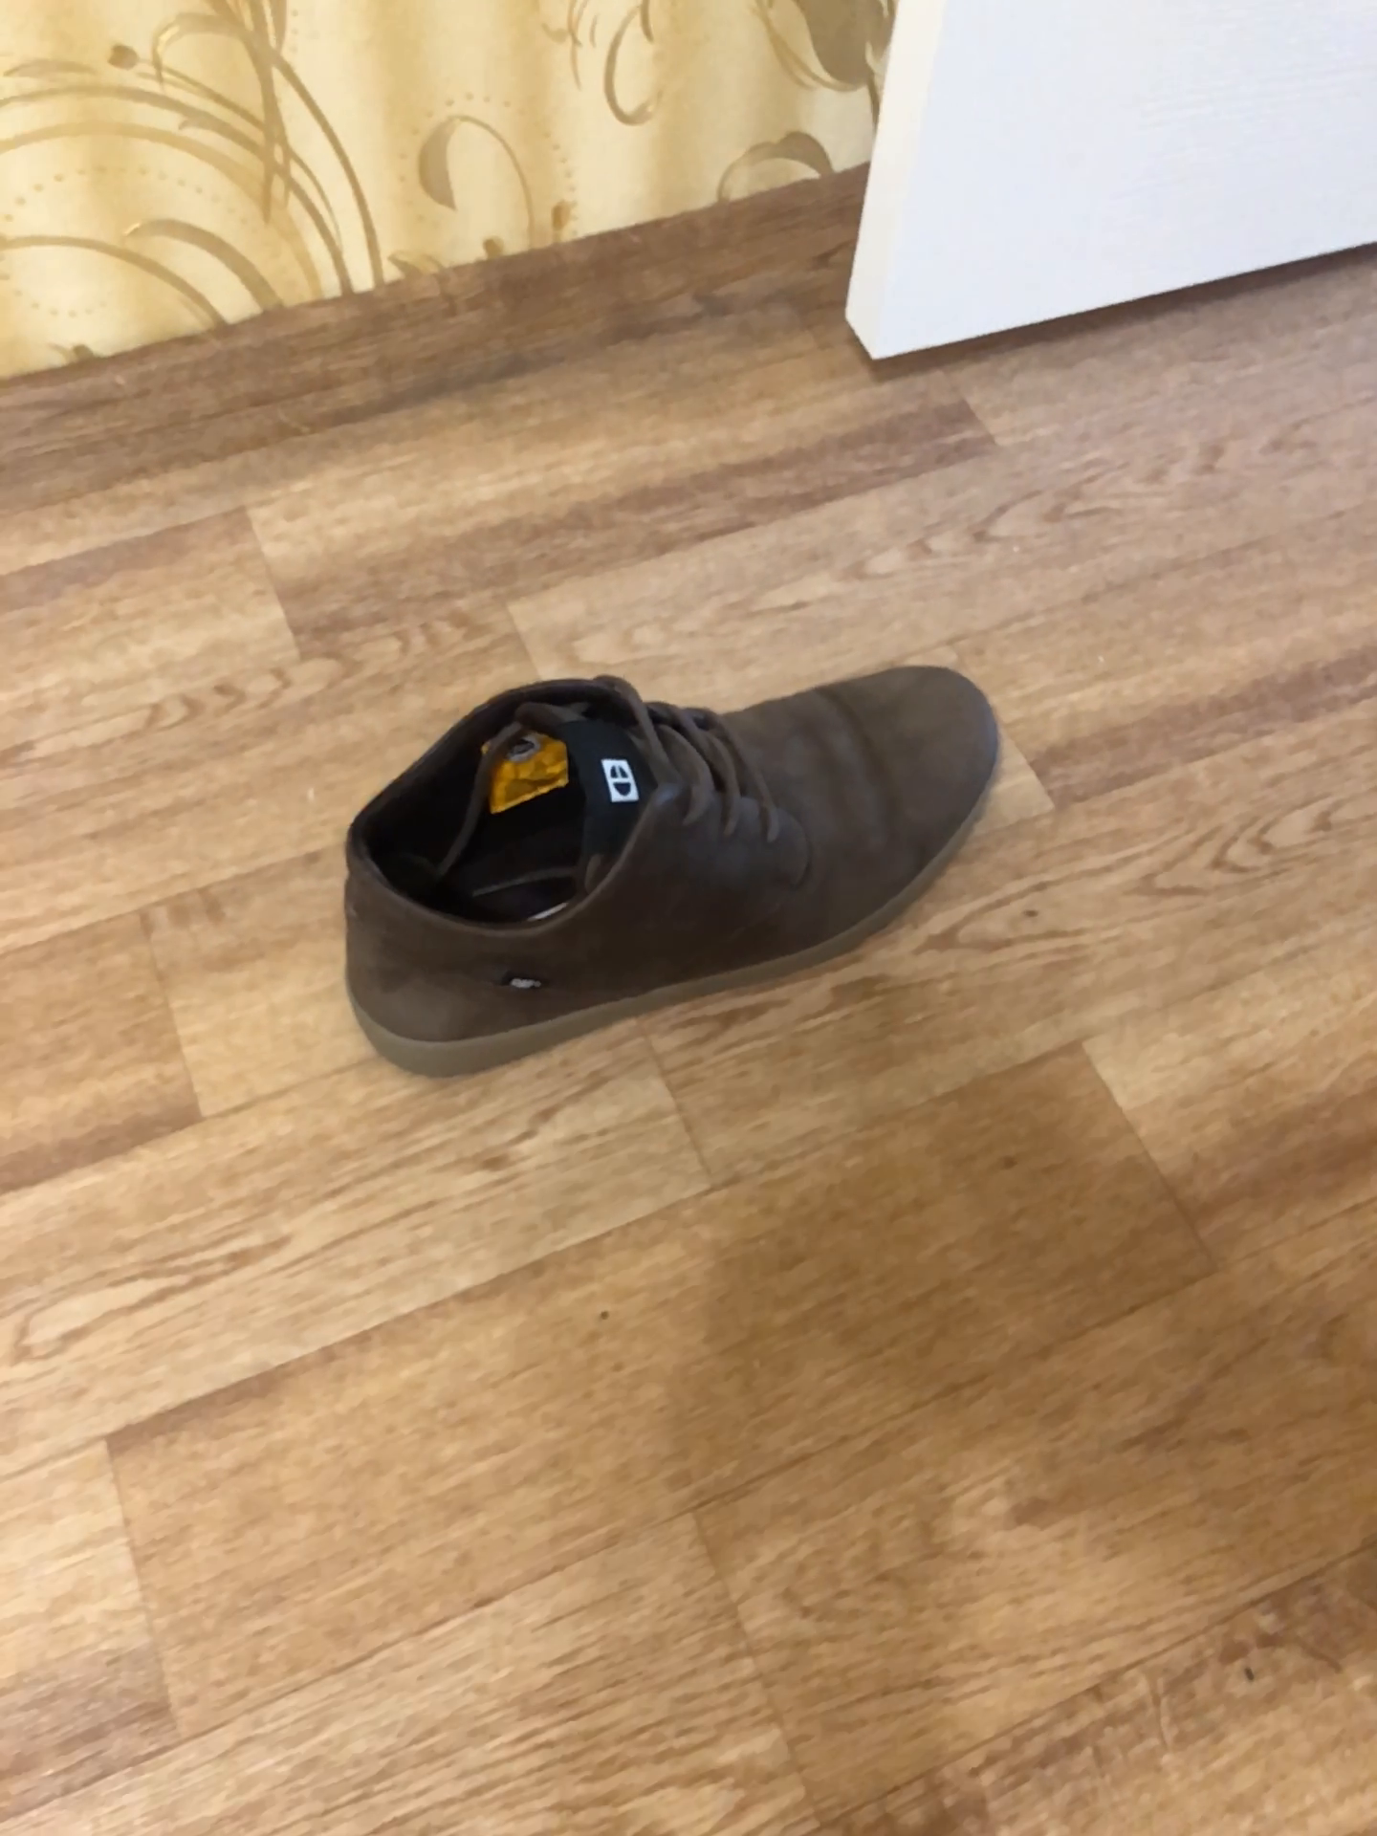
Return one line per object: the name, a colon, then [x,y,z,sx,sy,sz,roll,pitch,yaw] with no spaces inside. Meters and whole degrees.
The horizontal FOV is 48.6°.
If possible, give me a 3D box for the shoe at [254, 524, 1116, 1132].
shoe: [0.000,-0.035,0.551,0.270,0.100,0.100,-20,63,-14]
